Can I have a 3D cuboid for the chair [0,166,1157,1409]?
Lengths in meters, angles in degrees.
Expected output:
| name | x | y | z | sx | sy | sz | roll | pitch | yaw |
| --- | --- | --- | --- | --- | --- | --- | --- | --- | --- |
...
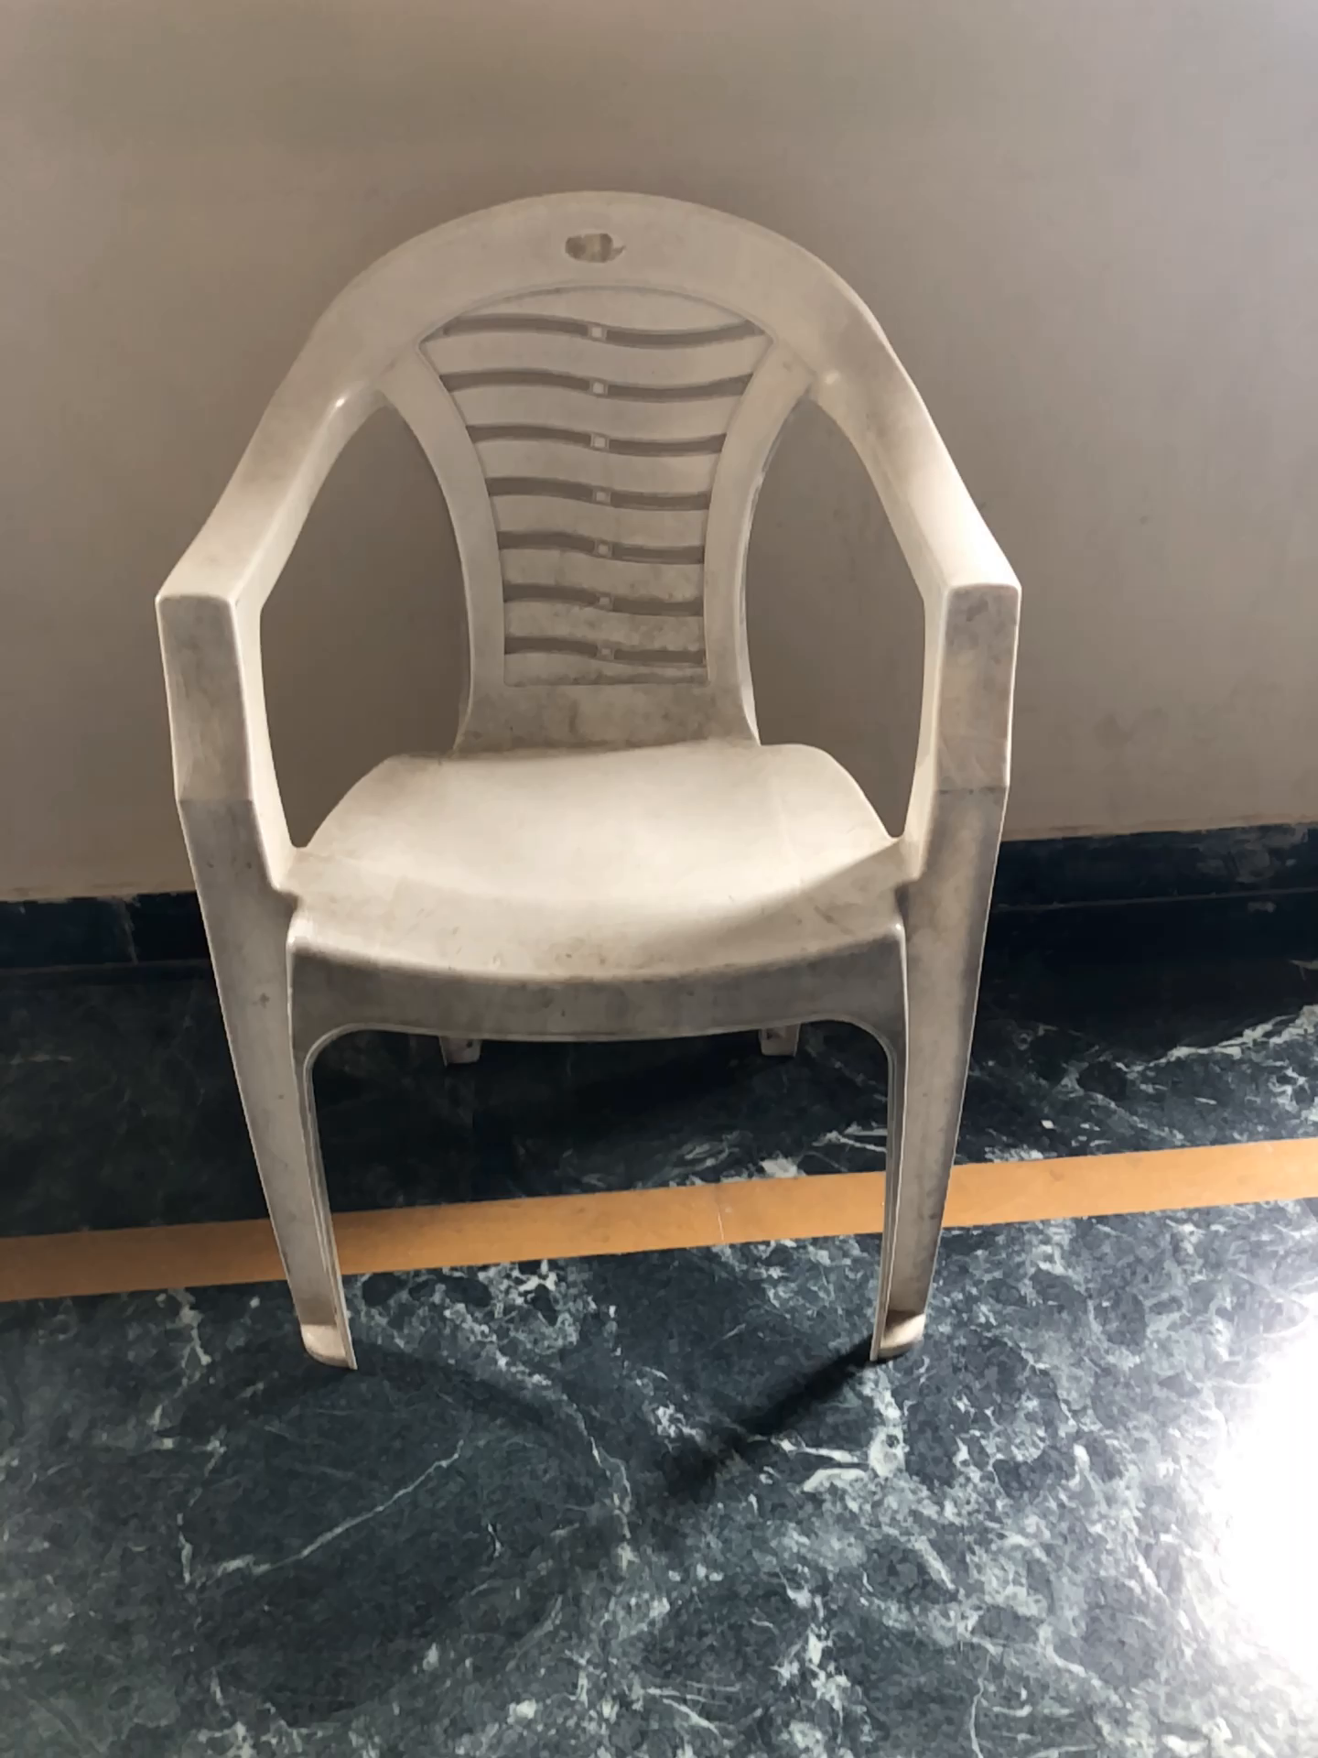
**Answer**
| name | x | y | z | sx | sy | sz | roll | pitch | yaw |
| --- | --- | --- | --- | --- | --- | --- | --- | --- | --- |
| chair | -0.058 | -0.108 | 1.174 | 0.580 | 0.775 | 0.624 | -3 | 32 | -4 |
